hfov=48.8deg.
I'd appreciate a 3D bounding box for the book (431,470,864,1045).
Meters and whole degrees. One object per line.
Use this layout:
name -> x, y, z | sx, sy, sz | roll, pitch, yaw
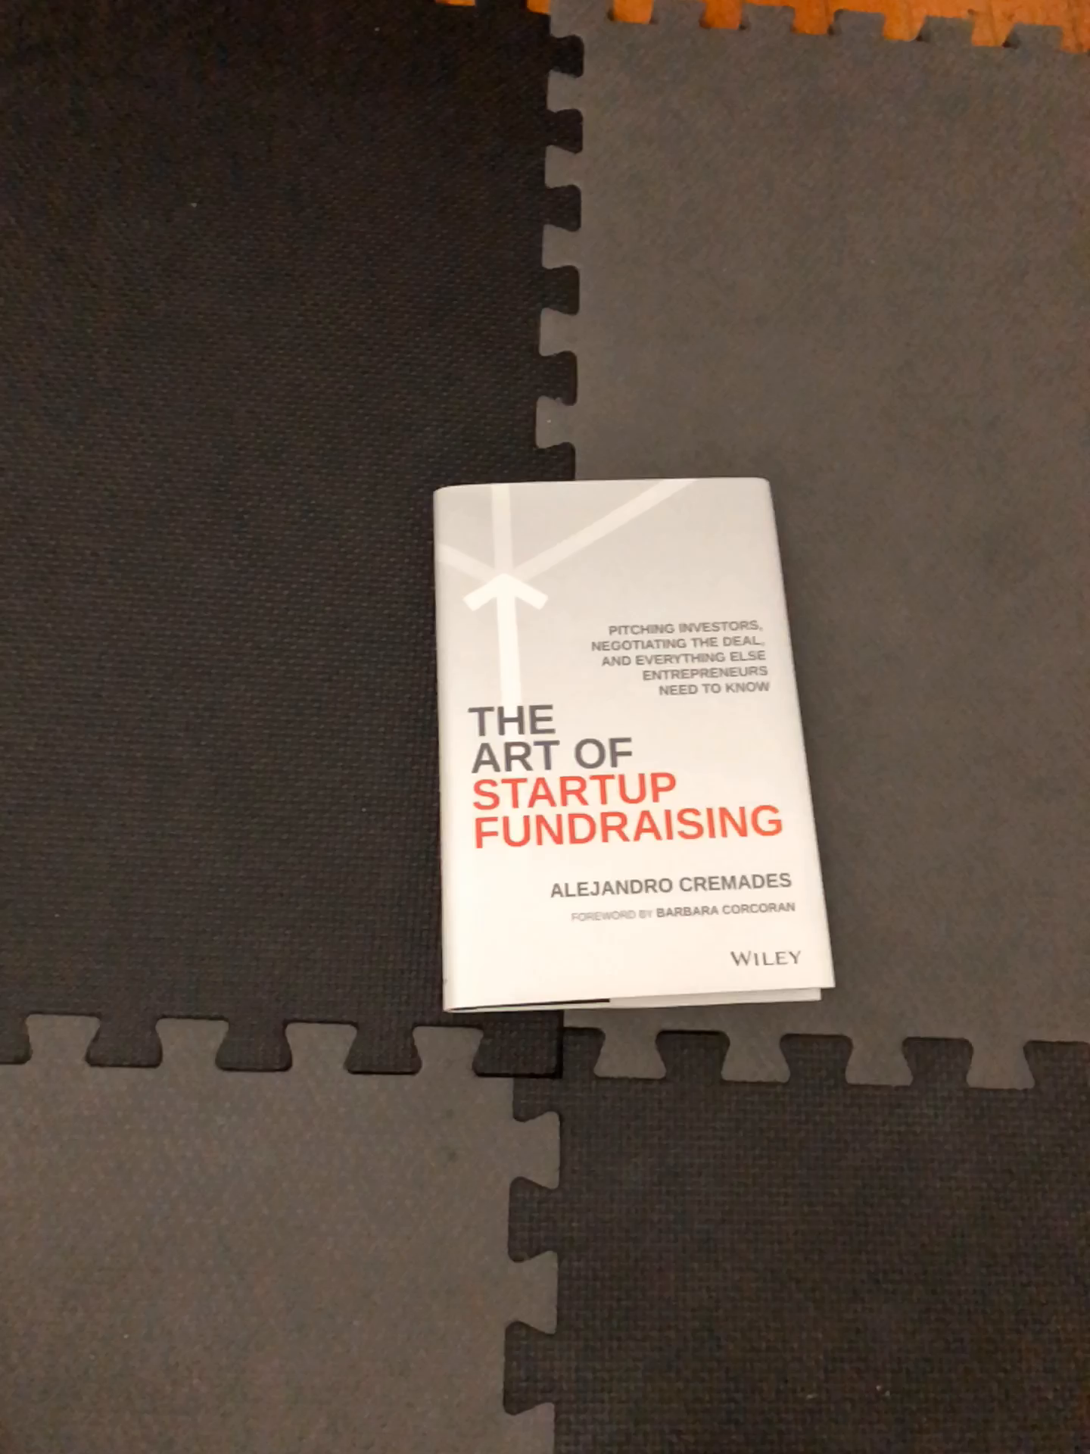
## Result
book -> 0.036, 0.006, 0.523 | 0.170, 0.030, 0.251 | -1, 71, -4
